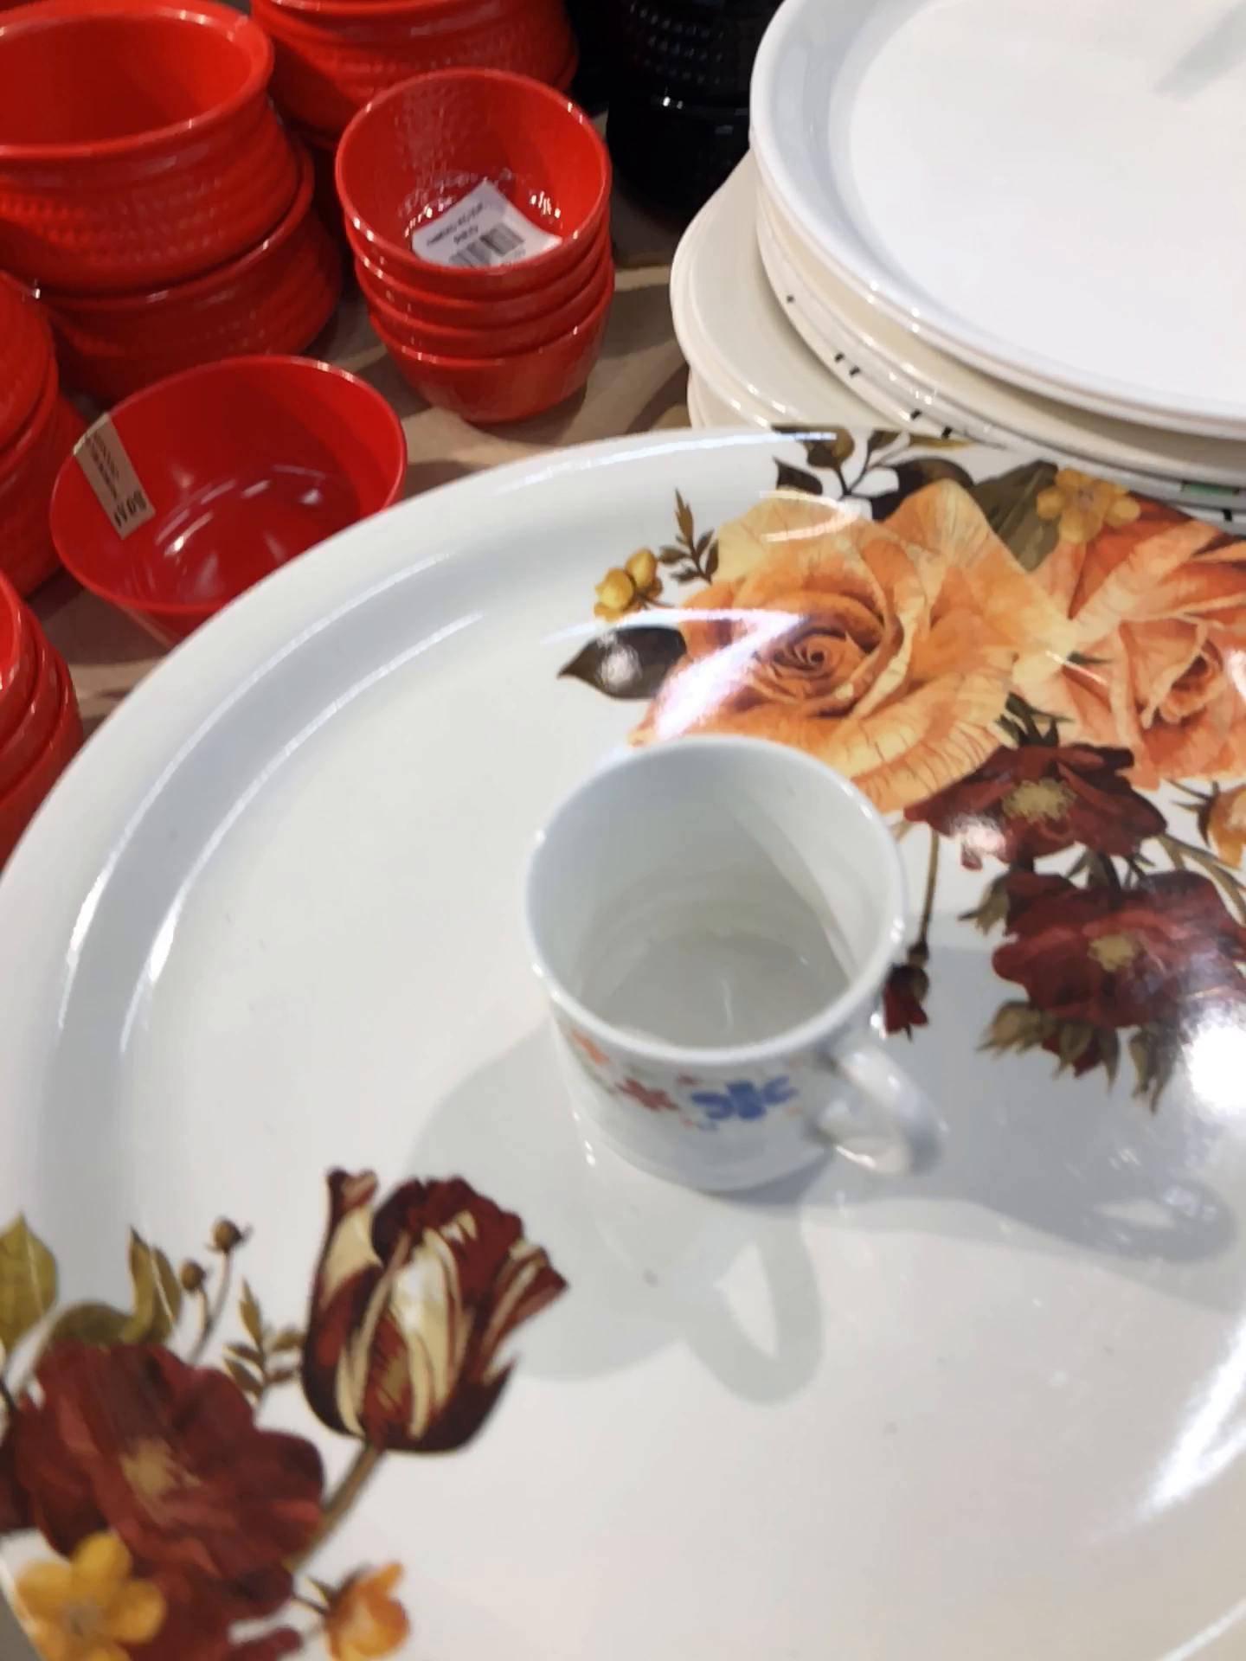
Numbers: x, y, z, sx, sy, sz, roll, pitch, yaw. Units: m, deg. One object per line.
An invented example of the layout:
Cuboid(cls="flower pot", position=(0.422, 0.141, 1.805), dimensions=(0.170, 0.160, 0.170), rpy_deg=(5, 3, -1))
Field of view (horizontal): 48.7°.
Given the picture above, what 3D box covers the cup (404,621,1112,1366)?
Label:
Cuboid(cls="cup", position=(0.022, 0.029, 0.248), dimensions=(0.070, 0.070, 0.090), rpy_deg=(-35, 60, -16))
